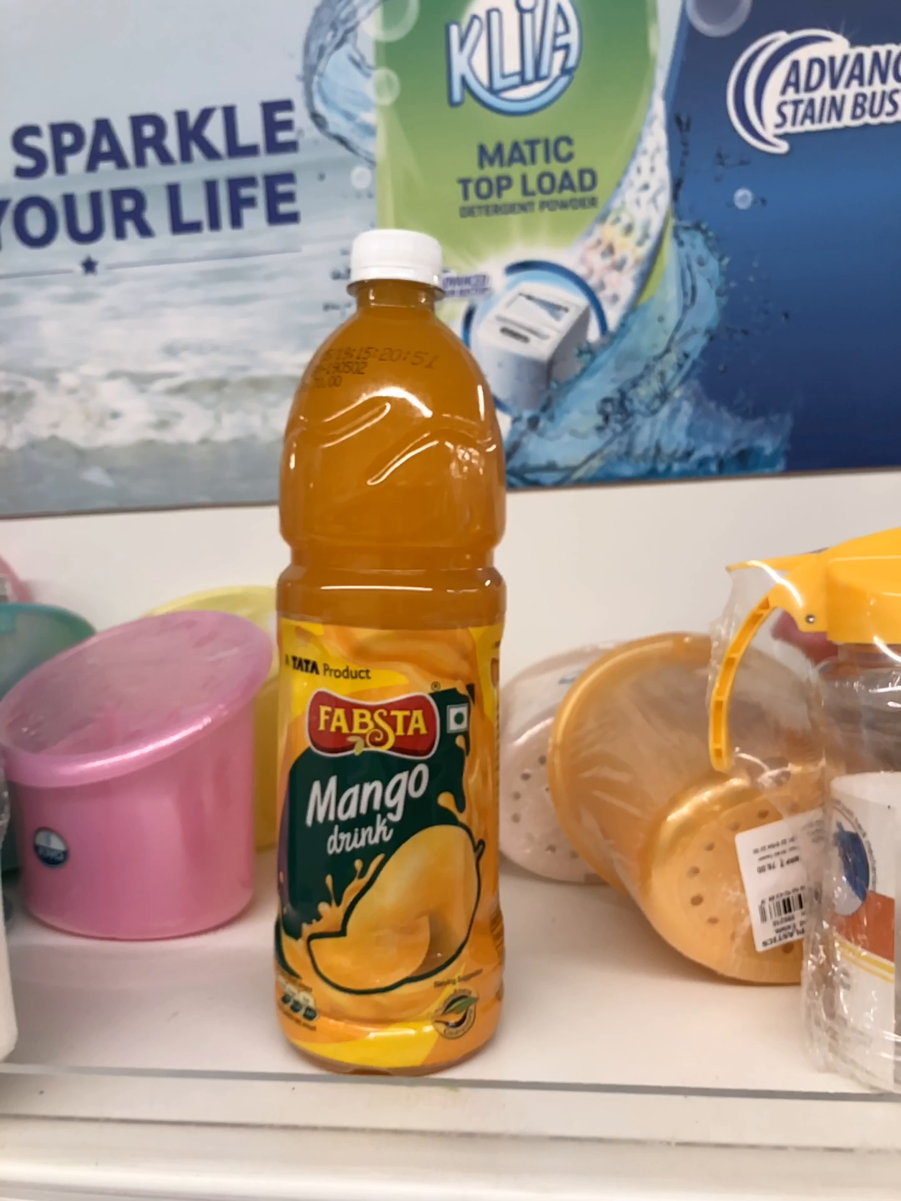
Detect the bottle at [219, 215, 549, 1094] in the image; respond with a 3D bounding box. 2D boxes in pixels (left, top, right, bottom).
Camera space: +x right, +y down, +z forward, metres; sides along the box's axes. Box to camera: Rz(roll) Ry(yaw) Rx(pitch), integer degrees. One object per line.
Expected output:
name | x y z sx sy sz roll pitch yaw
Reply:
bottle | -0.019 0.015 0.339 0.090 0.260 0.080 3 5 4
